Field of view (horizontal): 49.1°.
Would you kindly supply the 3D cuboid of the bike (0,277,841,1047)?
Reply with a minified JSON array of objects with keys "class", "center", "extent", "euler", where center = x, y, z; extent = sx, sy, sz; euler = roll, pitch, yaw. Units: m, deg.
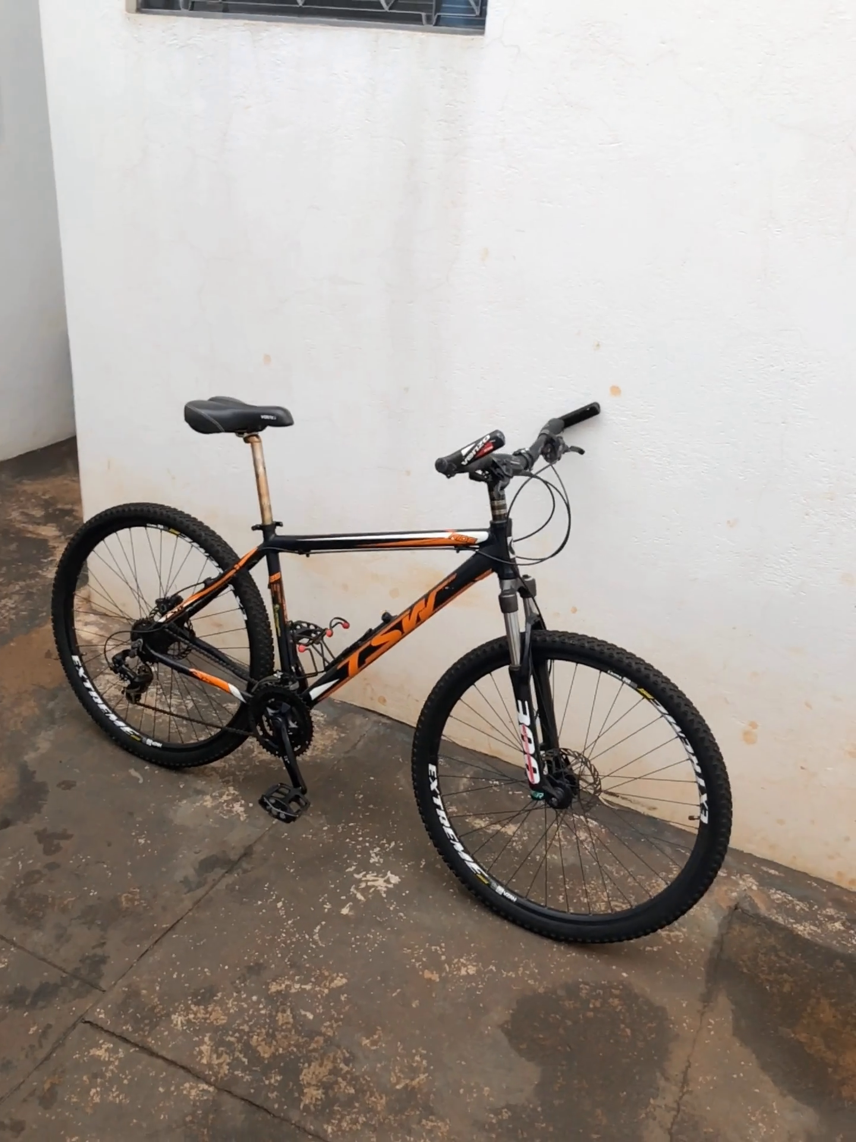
[{"class":"bike","center":[-0.147,0.053,2.155],"extent":[1.763,1.085,0.726],"euler":[16,28,21]}]
